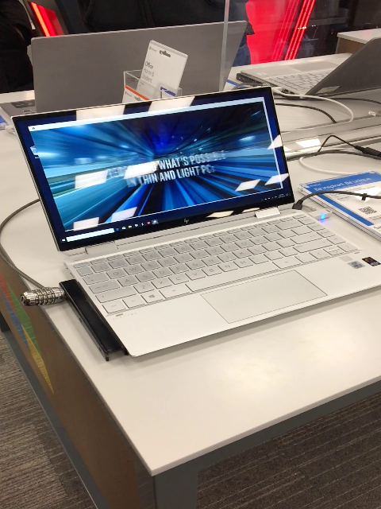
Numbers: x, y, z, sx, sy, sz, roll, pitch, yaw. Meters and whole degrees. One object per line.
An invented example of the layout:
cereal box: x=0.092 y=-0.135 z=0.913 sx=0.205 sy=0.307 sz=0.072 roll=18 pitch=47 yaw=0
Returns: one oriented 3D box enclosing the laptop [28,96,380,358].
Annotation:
laptop: x=0.033 y=-0.054 z=0.556 sx=0.320 sy=0.148 sz=0.259 roll=-16 pitch=39 yaw=-19
